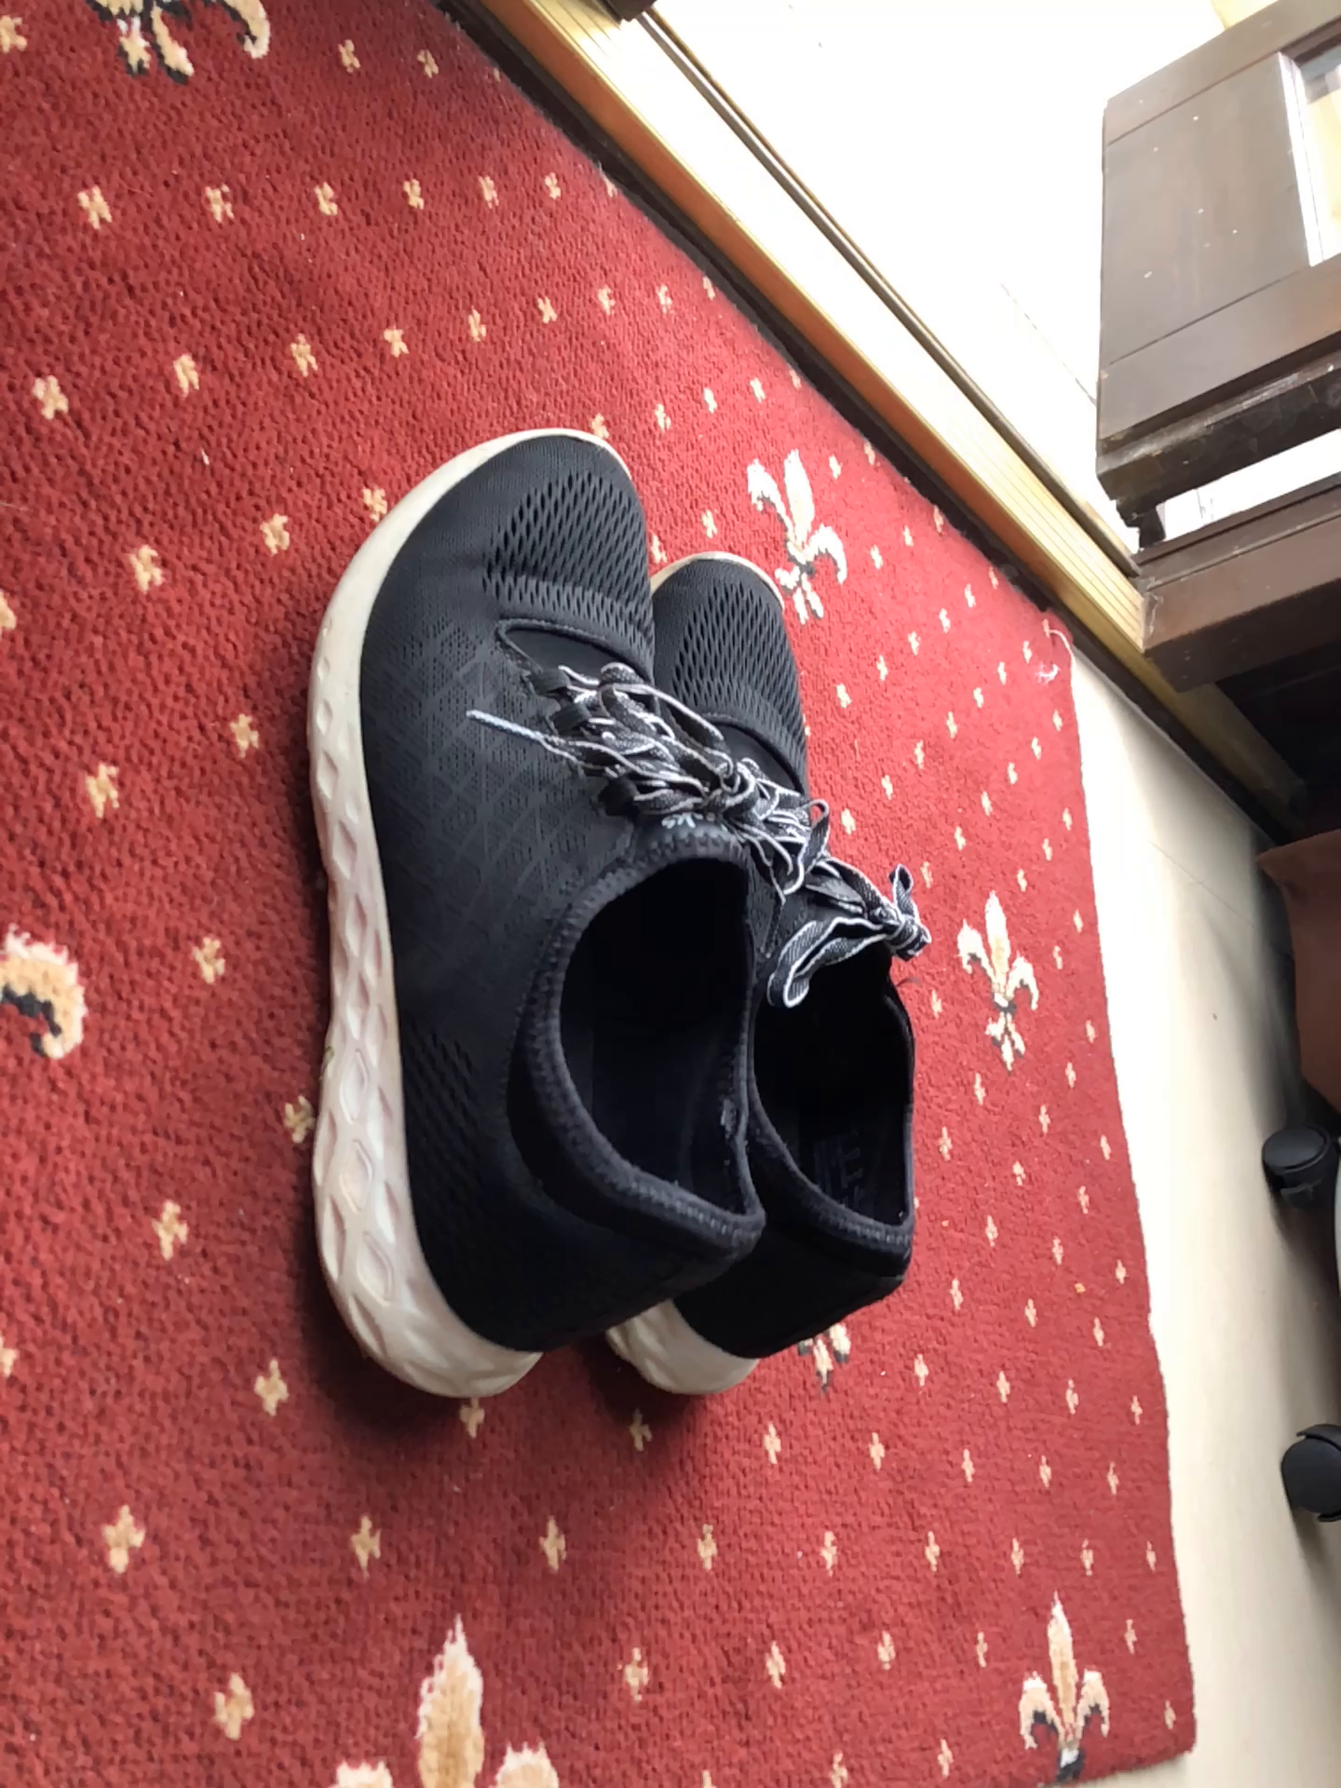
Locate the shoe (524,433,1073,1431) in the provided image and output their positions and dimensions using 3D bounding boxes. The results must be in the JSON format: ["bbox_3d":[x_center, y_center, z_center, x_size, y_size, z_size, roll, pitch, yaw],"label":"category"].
[{"bbox_3d":[0.034,0.016,0.452,0.100,0.109,0.271,27,54,-46],"label":"shoe"}]

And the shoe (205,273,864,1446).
[{"bbox_3d":[-0.034,-0.003,0.386,0.101,0.109,0.271,24,56,-47],"label":"shoe"}]
